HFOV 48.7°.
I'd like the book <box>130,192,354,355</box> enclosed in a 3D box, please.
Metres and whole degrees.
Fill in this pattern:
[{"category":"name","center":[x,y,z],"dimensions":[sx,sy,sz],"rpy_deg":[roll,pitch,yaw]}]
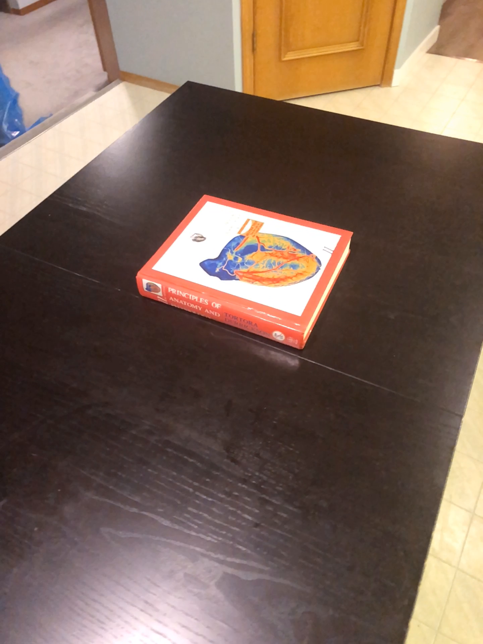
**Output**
[{"category":"book","center":[0.008,-0.096,0.889],"dimensions":[0.290,0.050,0.251],"rpy_deg":[17,52,17]}]
